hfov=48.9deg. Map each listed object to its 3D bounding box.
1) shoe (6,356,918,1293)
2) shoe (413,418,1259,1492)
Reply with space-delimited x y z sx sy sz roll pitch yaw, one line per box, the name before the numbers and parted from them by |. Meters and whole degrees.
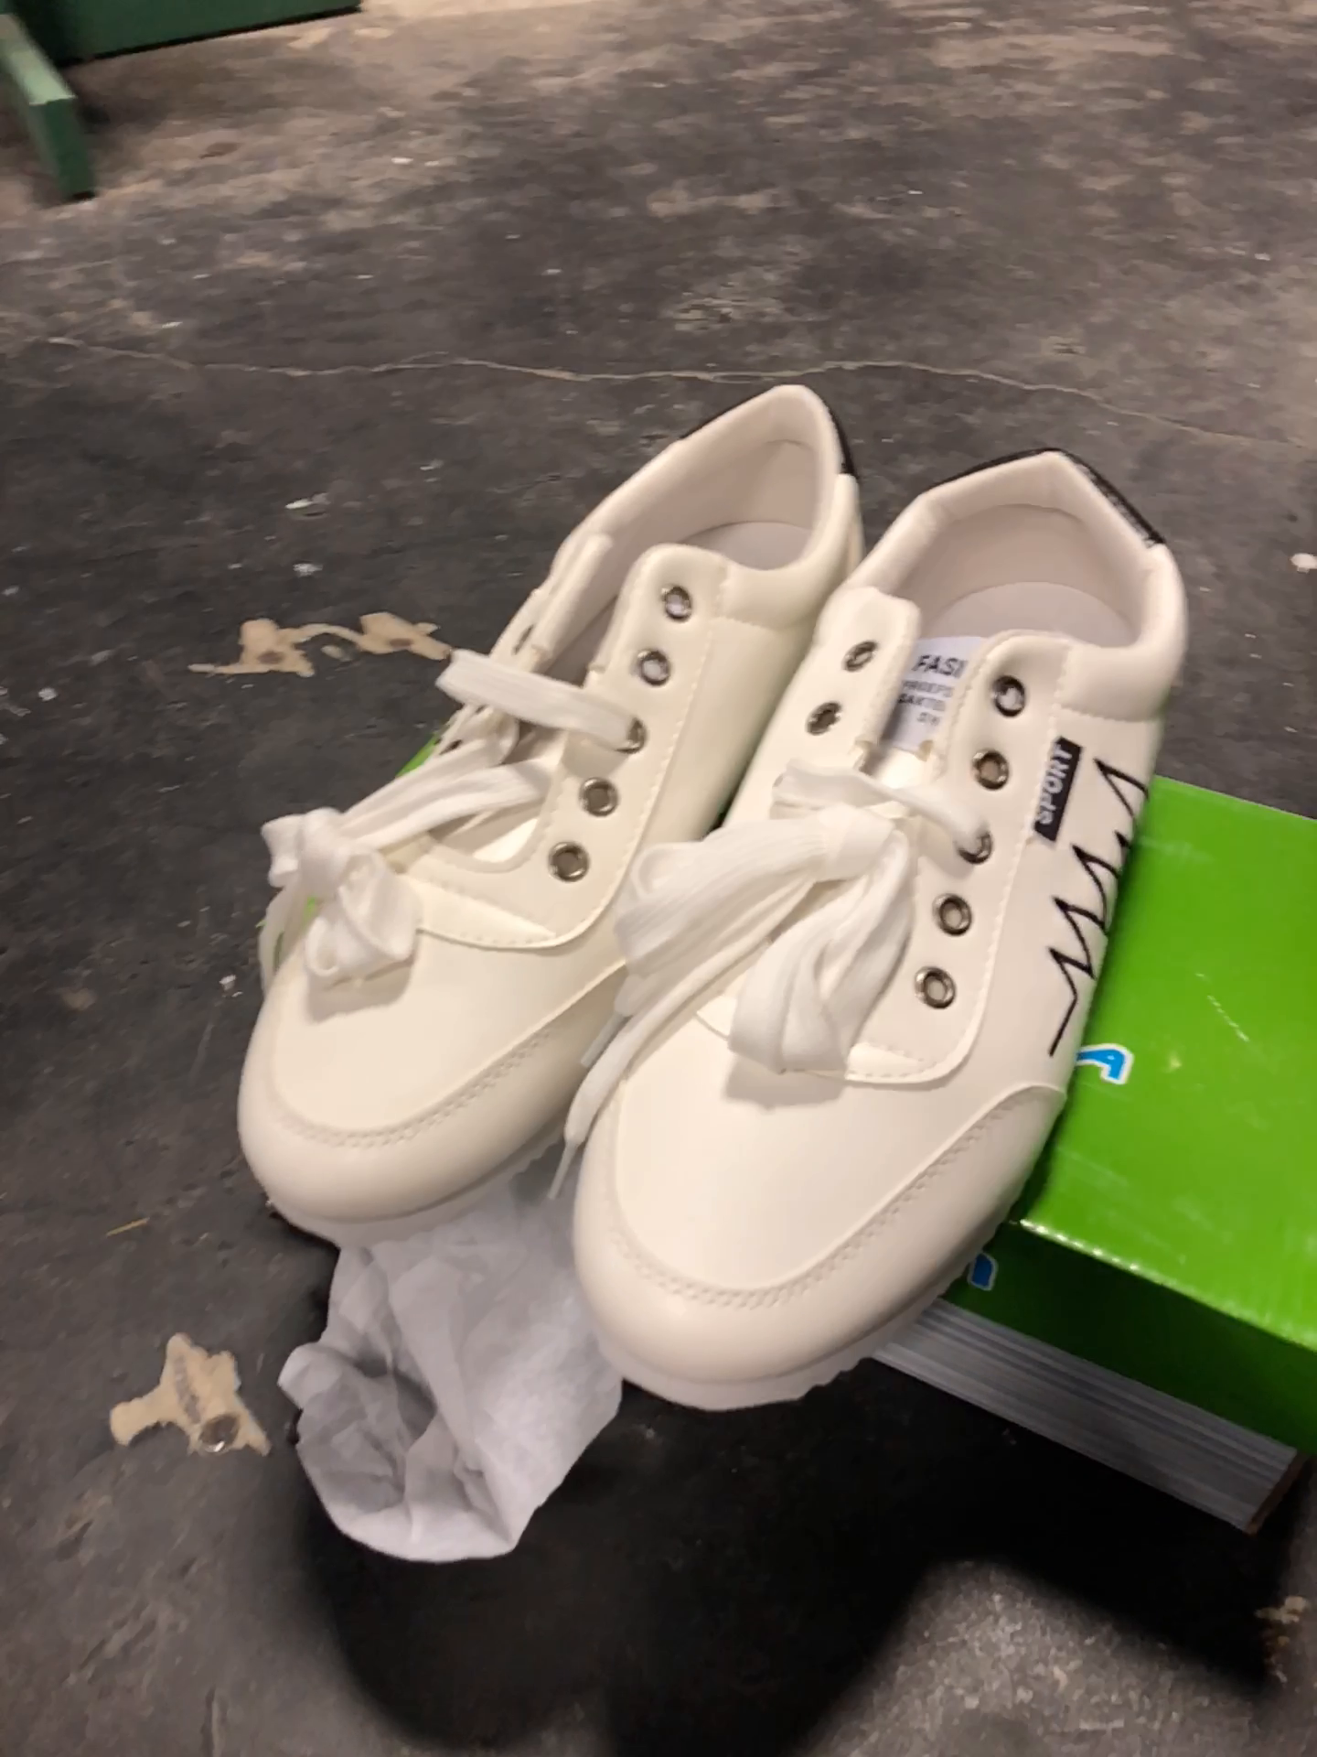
shoe | -0.025 -0.040 0.395 0.090 0.079 0.282 15 48 26
shoe | 0.066 -0.009 0.364 0.090 0.079 0.282 15 48 26
